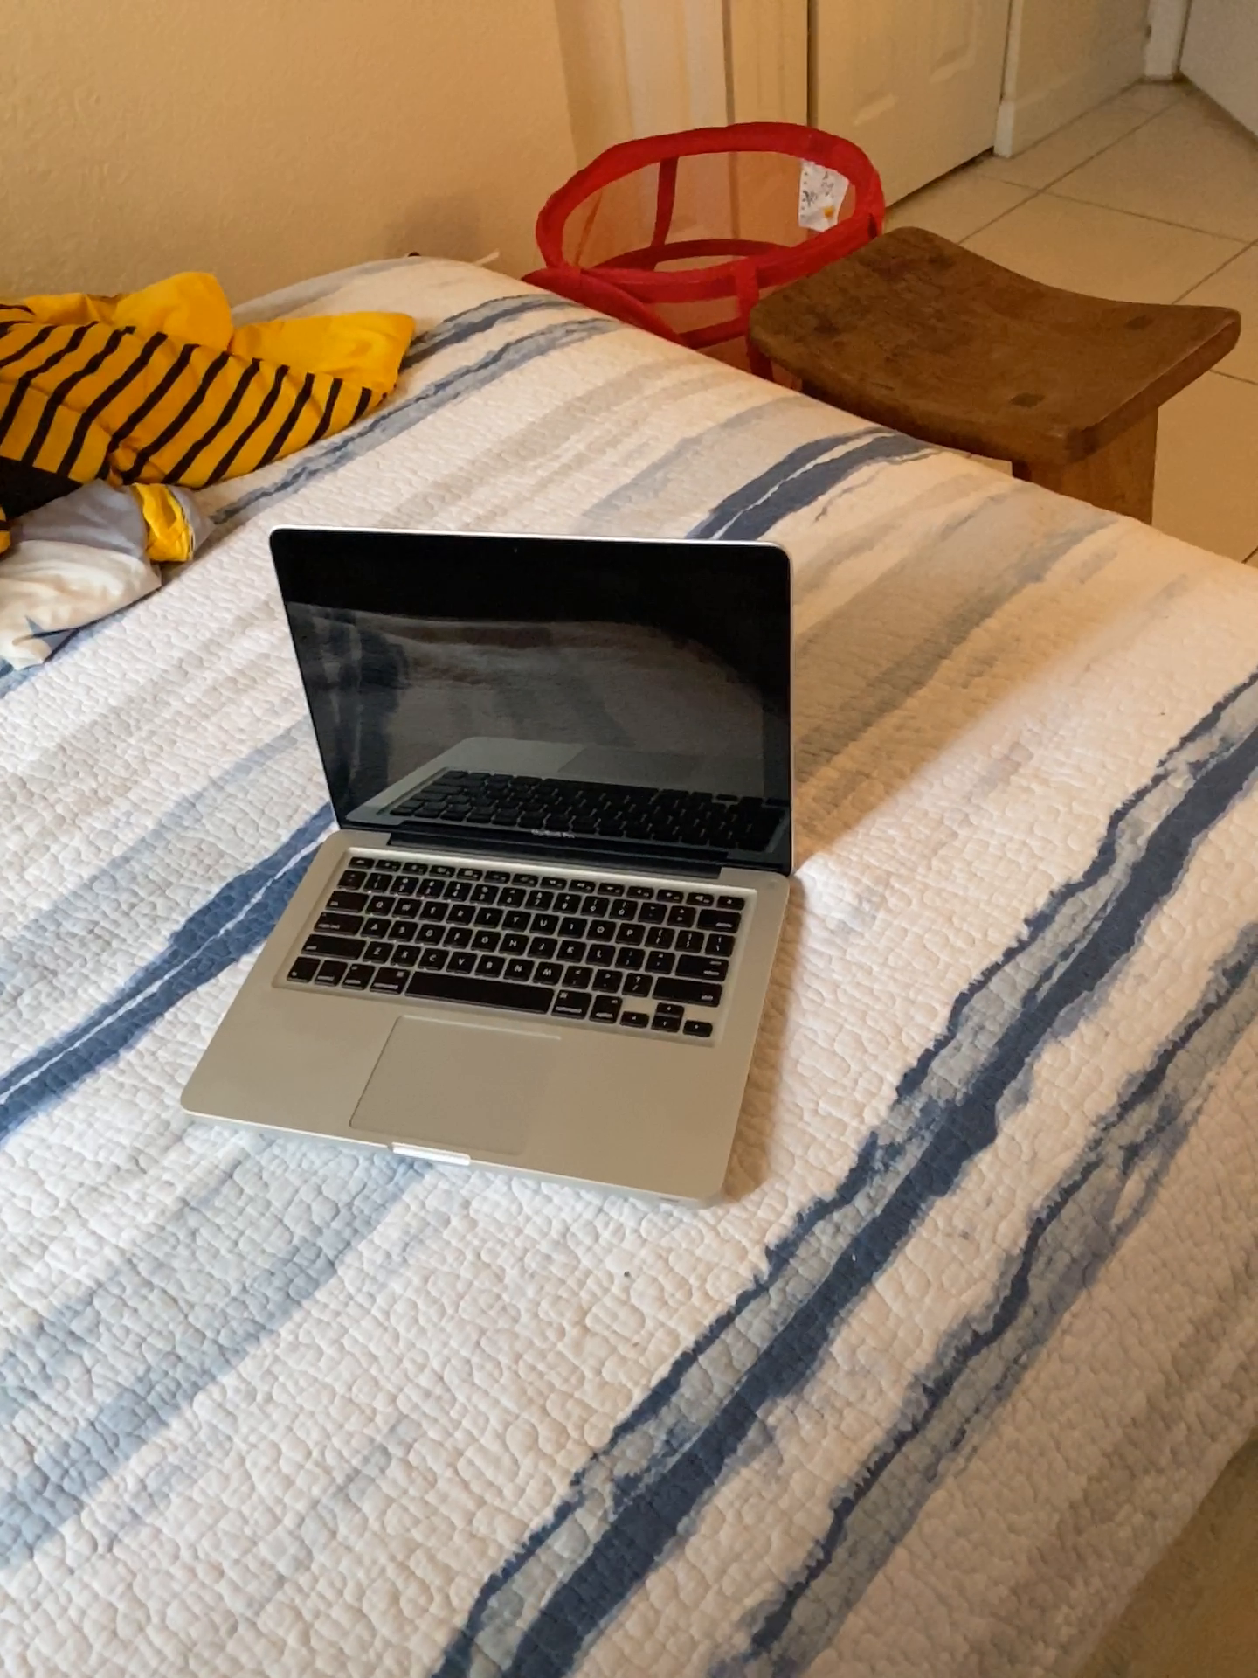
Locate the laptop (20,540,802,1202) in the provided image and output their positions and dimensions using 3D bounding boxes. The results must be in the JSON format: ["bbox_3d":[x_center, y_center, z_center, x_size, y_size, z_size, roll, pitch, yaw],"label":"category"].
[{"bbox_3d":[-0.084,0.002,0.713,0.318,0.199,0.279,6,48,15],"label":"laptop"}]
